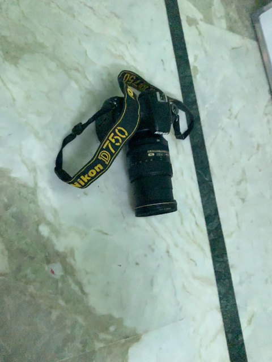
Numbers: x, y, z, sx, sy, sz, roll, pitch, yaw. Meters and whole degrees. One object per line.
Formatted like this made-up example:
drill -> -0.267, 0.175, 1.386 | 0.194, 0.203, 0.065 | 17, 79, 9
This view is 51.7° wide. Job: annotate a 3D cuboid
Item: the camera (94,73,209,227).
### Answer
camera -> 0.021, -0.048, 0.497 | 0.139, 0.100, 0.233 | -1, 76, -31
